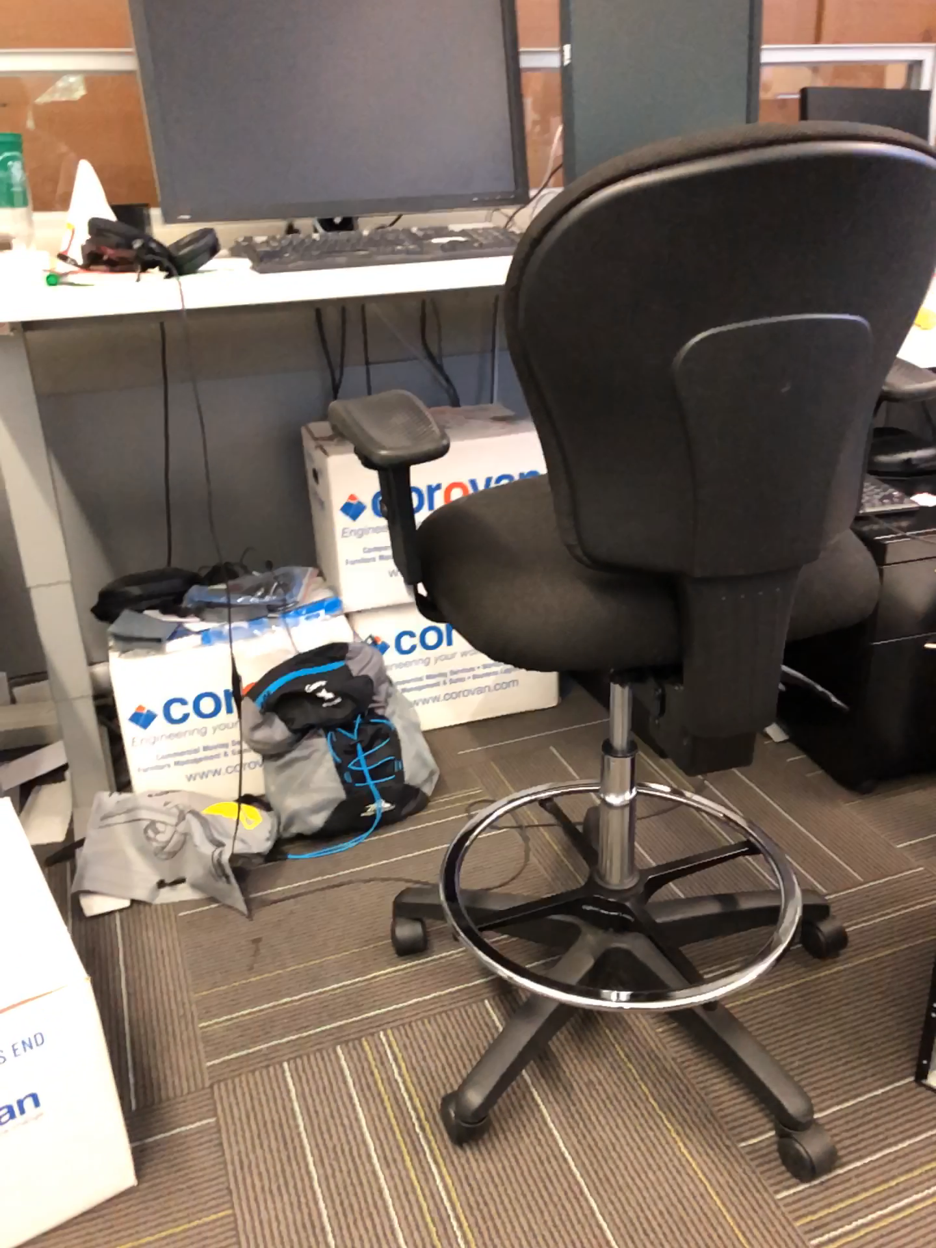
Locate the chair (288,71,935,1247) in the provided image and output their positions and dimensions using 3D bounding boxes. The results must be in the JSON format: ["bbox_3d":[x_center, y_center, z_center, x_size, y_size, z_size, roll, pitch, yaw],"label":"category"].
[{"bbox_3d":[0.207,0.002,1.263,0.640,1.134,0.734,-9,24,-14],"label":"chair"}]
